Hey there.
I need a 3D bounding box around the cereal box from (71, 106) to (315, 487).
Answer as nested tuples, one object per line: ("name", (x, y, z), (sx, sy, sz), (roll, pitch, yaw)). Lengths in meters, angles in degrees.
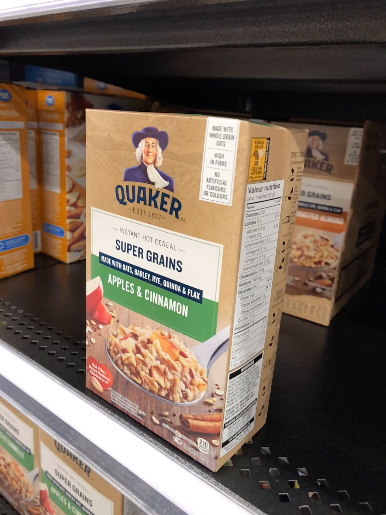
("cereal box", (-0.011, 0.013, 0.274), (0.130, 0.199, 0.060), (17, 22, 35))
